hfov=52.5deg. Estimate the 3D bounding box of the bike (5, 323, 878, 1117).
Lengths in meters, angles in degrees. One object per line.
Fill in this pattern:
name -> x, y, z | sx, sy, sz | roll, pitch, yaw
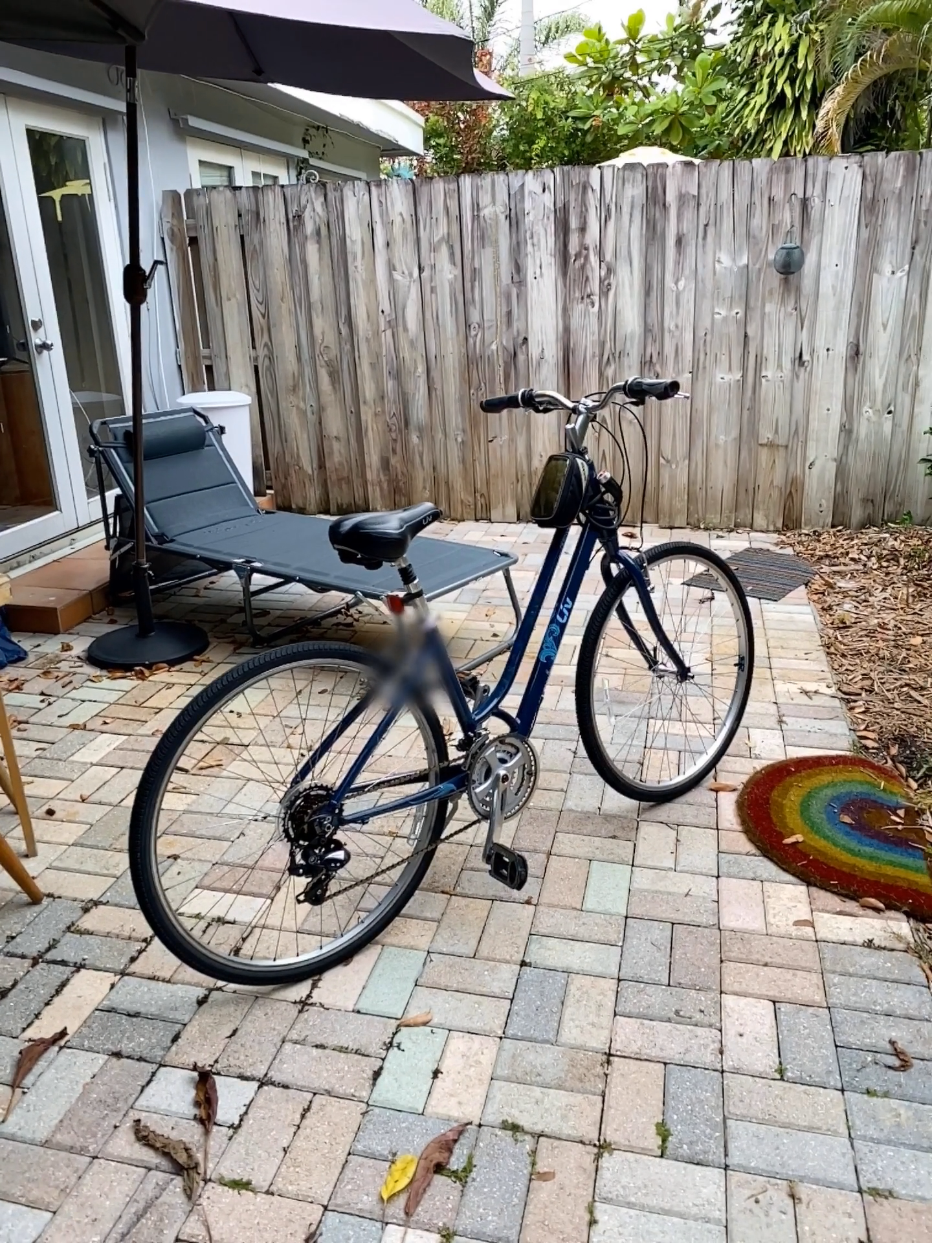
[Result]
bike -> 0.084, 0.006, 2.066 | 1.692, 1.067, 0.596 | -19, 25, -34
